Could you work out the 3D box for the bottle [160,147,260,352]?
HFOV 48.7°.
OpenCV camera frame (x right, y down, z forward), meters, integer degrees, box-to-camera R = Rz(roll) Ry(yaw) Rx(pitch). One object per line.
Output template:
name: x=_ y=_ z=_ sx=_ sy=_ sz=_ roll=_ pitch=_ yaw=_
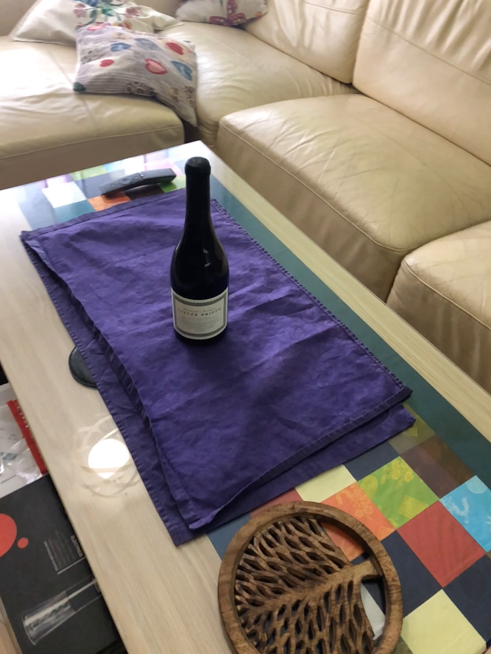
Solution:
bottle: x=-0.046 y=-0.093 z=0.725 sx=0.110 sy=0.259 sz=0.100 roll=2 pitch=45 yaw=-2
